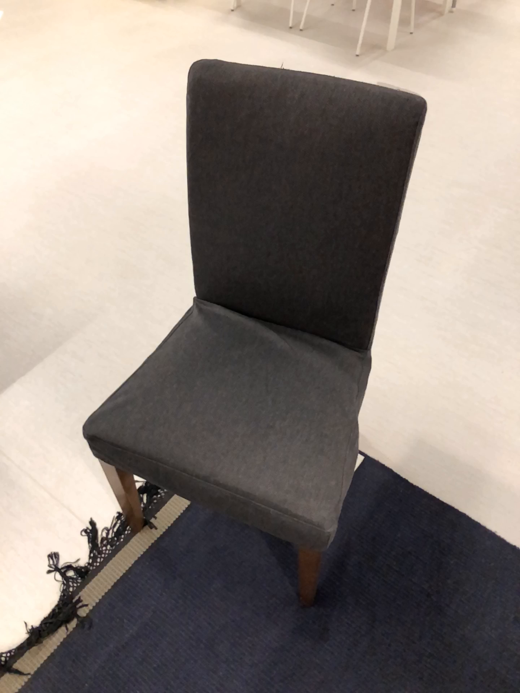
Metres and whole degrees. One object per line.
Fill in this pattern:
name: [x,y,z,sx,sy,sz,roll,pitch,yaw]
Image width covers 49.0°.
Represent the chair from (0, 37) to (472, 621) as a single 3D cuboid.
chair: [-0.025,0.028,1.158,0.541,0.964,0.553,19,52,16]
